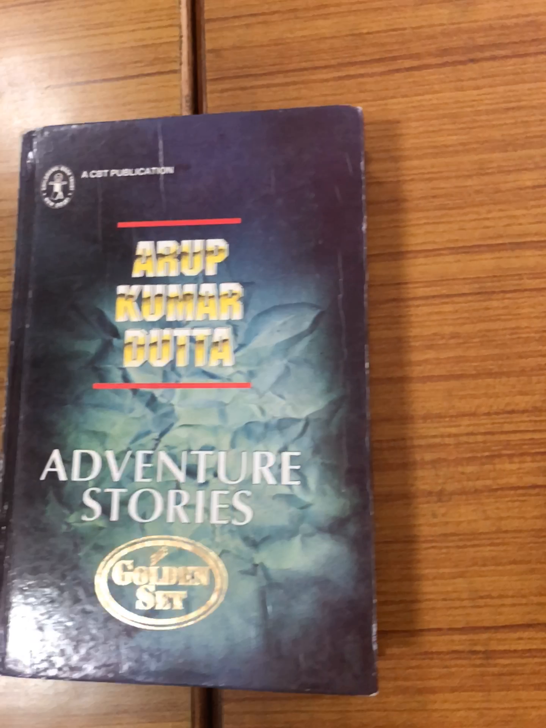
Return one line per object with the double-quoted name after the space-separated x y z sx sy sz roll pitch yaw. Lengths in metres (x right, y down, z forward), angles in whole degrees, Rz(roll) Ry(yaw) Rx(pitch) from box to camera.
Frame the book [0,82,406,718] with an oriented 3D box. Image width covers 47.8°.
-0.029 0.008 0.236 0.145 0.036 0.218 -1 82 6 "book"
